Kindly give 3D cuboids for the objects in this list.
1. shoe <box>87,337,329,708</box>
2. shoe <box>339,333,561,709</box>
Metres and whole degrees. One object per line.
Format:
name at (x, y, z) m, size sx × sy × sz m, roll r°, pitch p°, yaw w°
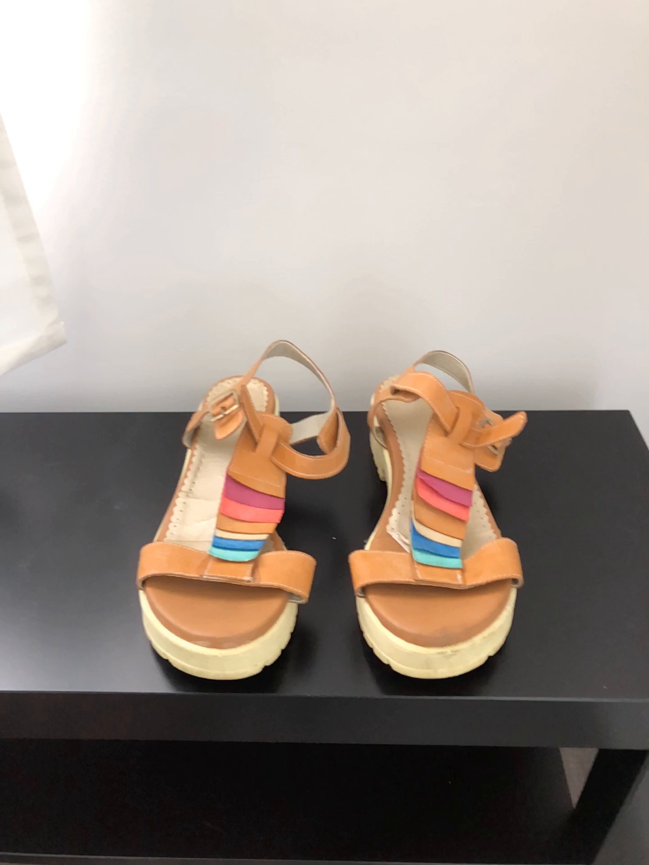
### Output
shoe at (-0.055, 0.038, 0.460) m, size 0.100 × 0.083 × 0.248 m, roll 1°, pitch 38°, yaw 4°
shoe at (0.065, 0.035, 0.446) m, size 0.100 × 0.077 × 0.248 m, roll 1°, pitch 38°, yaw 4°
